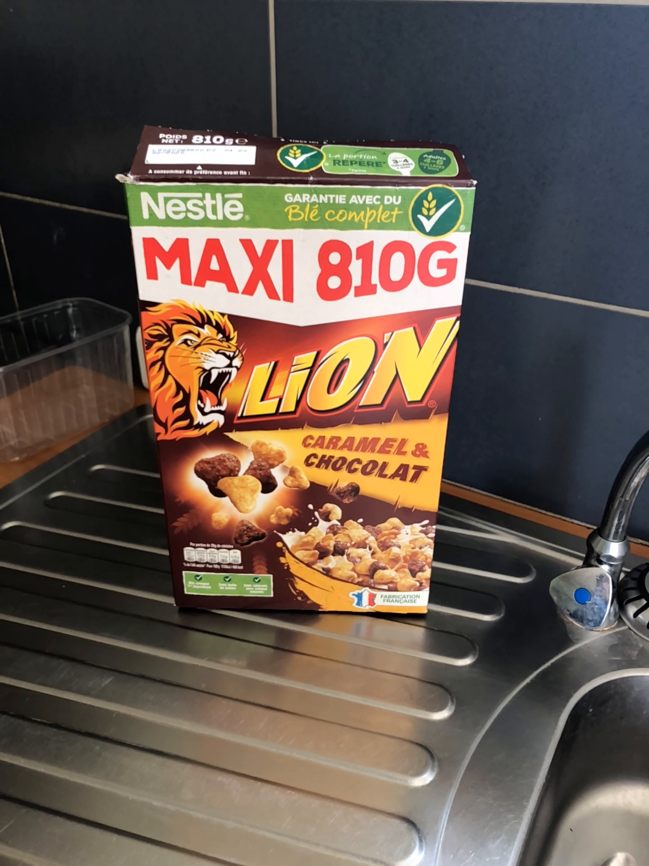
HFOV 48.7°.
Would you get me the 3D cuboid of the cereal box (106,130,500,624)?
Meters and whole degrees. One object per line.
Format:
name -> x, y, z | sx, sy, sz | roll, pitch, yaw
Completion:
cereal box -> -0.012, -0.022, 0.479 | 0.200, 0.318, 0.080 | 2, 31, 1
